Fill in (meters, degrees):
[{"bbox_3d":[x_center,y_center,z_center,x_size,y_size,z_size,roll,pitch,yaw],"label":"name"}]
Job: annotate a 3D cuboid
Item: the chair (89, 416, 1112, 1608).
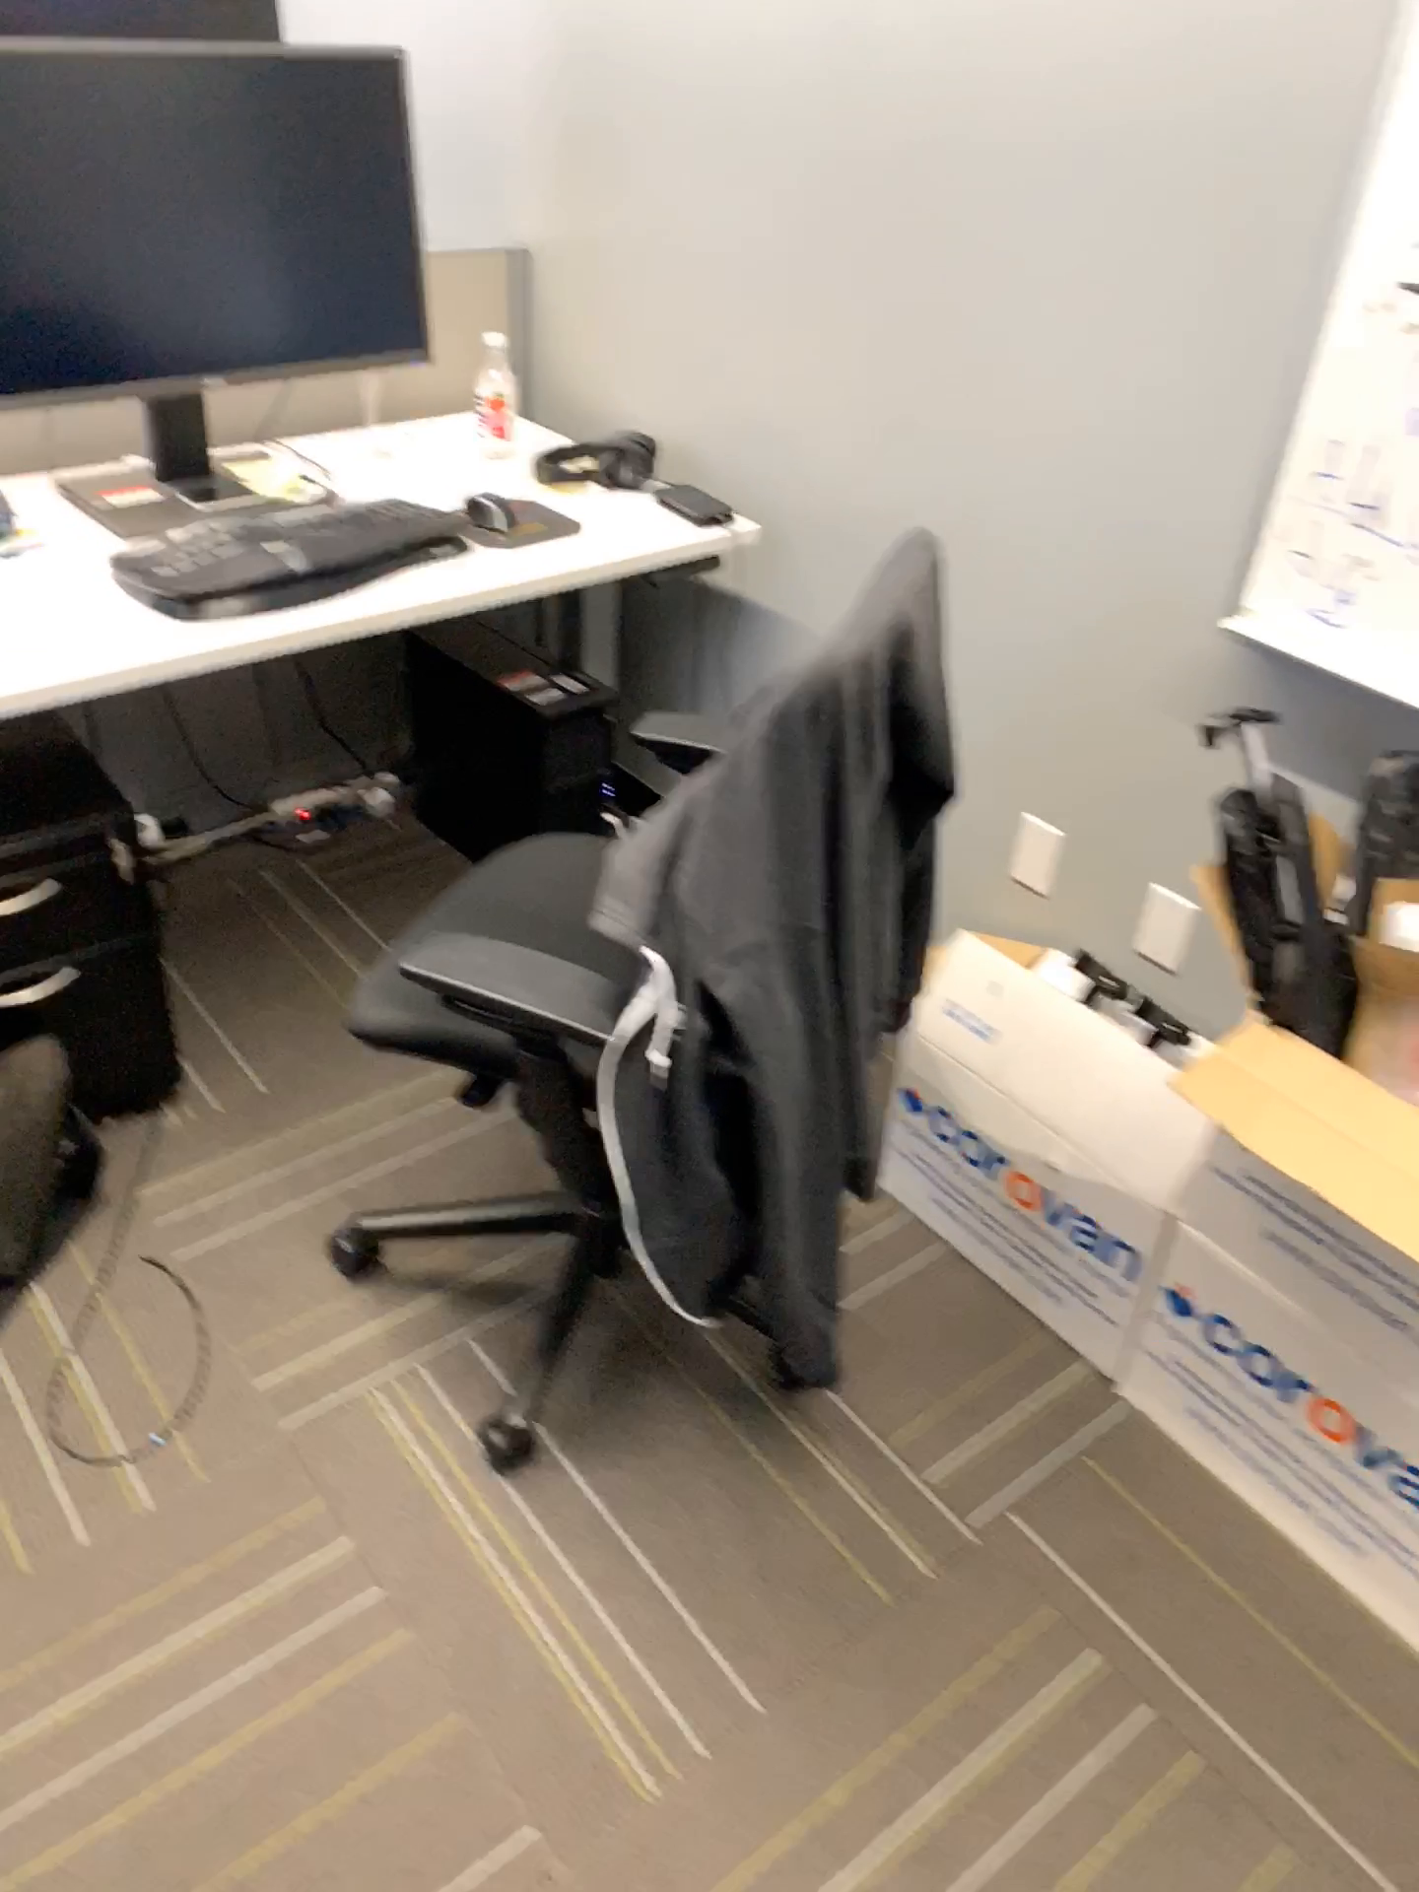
[{"bbox_3d":[-0.088,0.026,1.732,0.731,0.994,0.774,20,38,21],"label":"chair"}]
